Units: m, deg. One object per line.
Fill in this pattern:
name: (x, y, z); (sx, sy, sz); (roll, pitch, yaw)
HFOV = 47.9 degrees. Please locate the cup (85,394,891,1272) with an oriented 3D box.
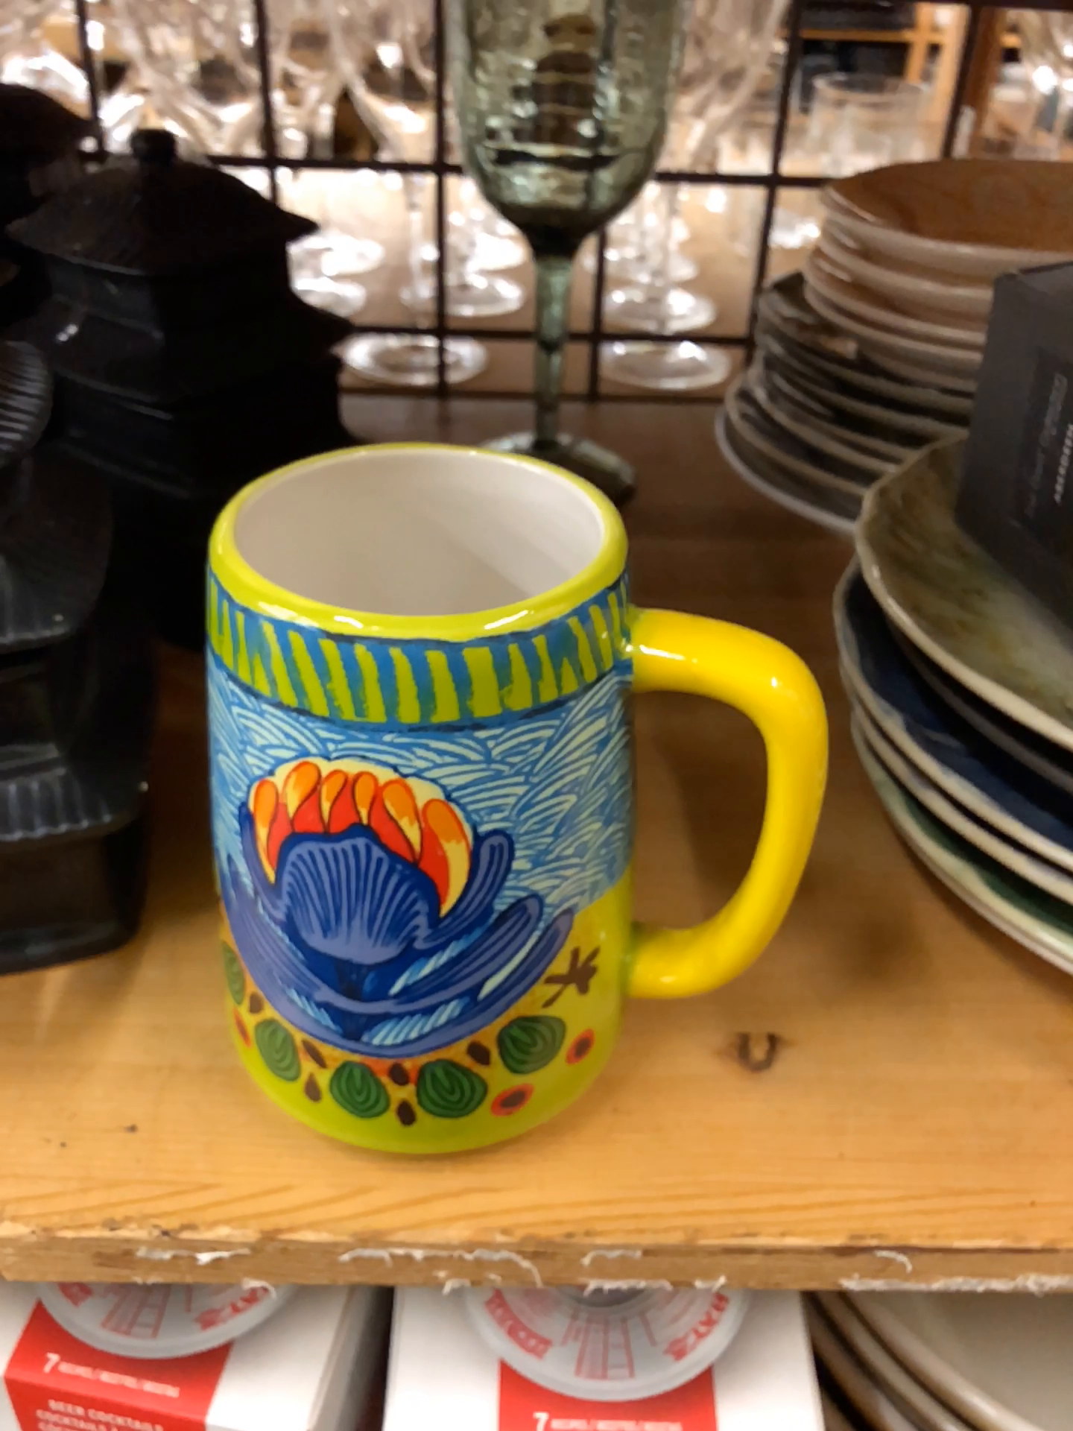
cup: (-0.003, 0.018, 0.239); (0.113, 0.125, 0.087); (11, 35, 14)
